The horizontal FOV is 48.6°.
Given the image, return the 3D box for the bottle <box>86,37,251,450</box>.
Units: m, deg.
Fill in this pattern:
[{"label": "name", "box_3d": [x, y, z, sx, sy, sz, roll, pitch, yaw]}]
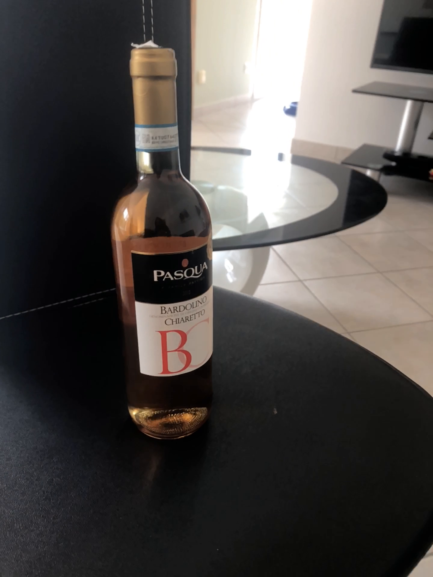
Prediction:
[{"label": "bottle", "box_3d": [-0.039, -0.020, 0.345, 0.080, 0.278, 0.080, 3, 30, -2]}]
